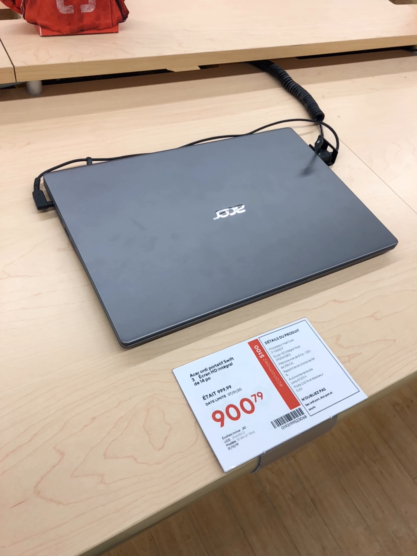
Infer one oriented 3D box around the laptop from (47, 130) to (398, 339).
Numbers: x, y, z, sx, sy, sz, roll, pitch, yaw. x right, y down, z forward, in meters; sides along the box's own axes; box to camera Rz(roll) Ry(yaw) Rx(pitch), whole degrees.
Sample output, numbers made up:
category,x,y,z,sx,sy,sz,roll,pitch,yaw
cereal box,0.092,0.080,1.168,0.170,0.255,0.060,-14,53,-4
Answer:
category,x,y,z,sx,sy,sz,roll,pitch,yaw
laptop,0.020,-0.070,0.470,0.307,0.001,0.201,-18,58,-25
